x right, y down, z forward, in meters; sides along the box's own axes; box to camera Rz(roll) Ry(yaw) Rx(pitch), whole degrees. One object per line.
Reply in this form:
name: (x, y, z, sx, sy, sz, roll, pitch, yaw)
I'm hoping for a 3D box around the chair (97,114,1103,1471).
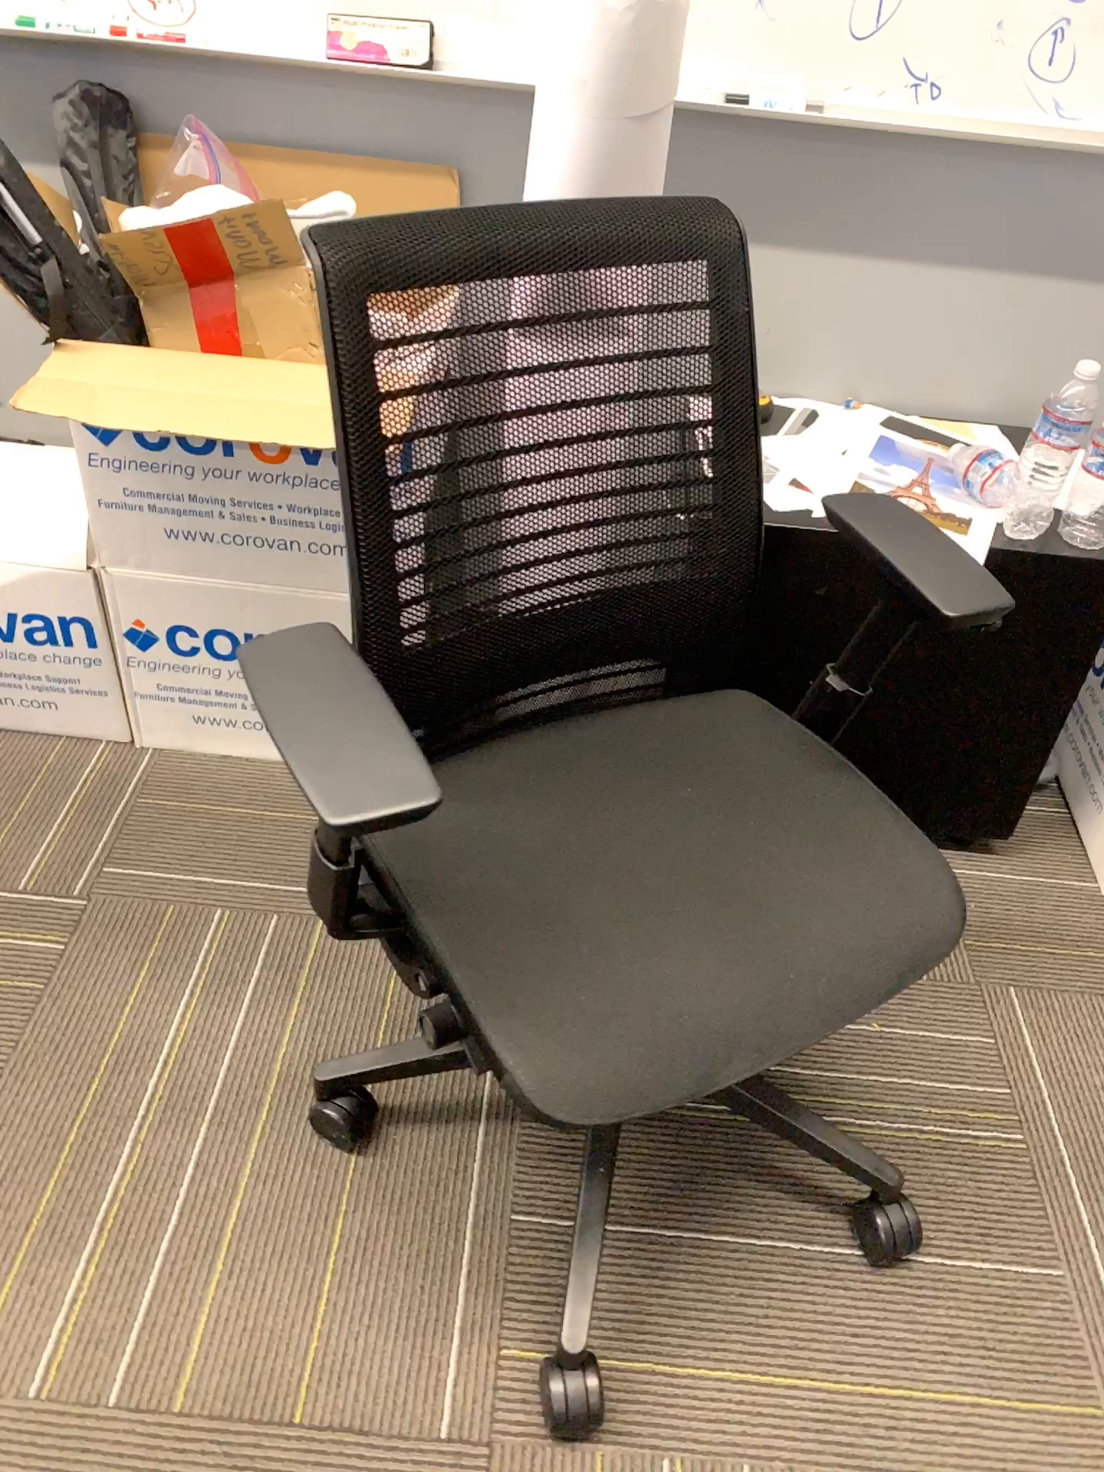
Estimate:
chair: (0.107, 0.038, 1.021, 0.661, 0.915, 0.683, -20, 46, -28)
